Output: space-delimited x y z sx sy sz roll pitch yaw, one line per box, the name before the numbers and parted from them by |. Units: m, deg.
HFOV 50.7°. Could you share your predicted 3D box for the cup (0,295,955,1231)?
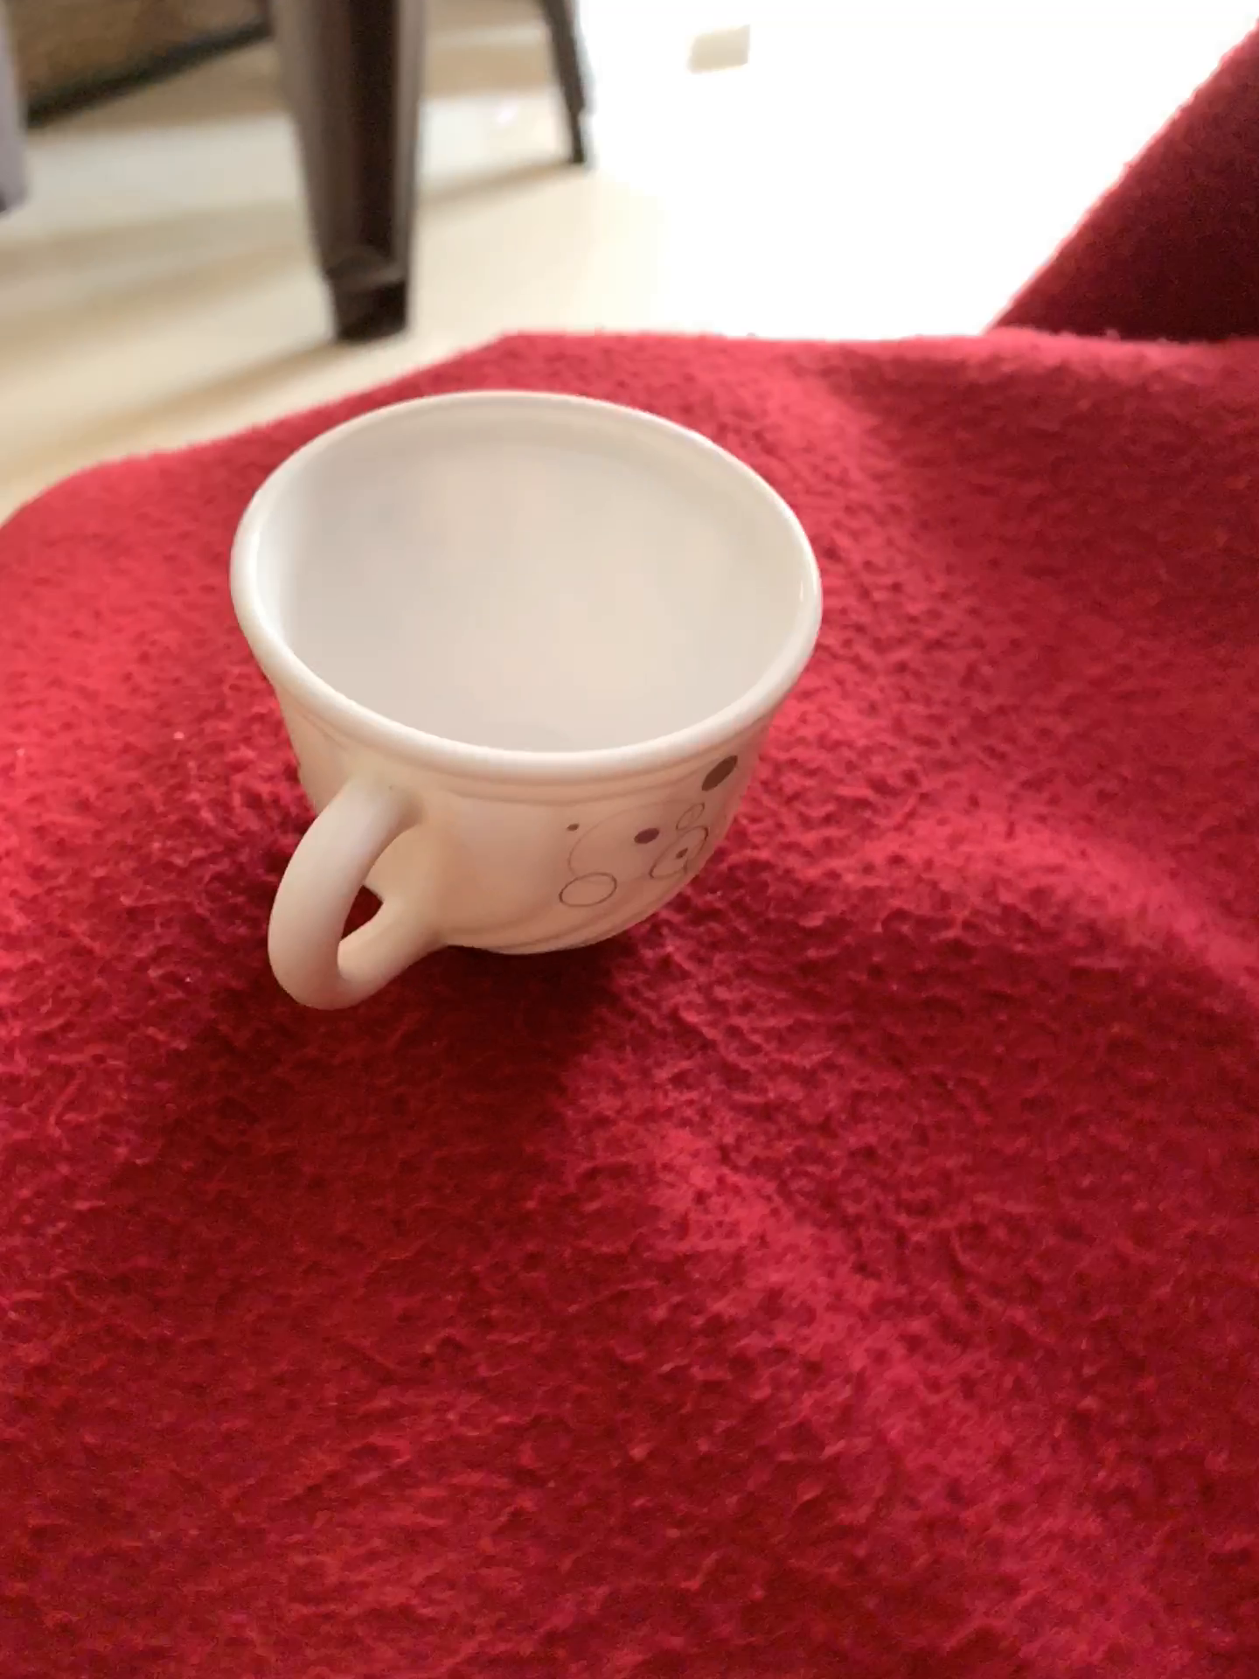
cup | -0.016 -0.018 0.179 0.080 0.050 0.101 23 52 17
